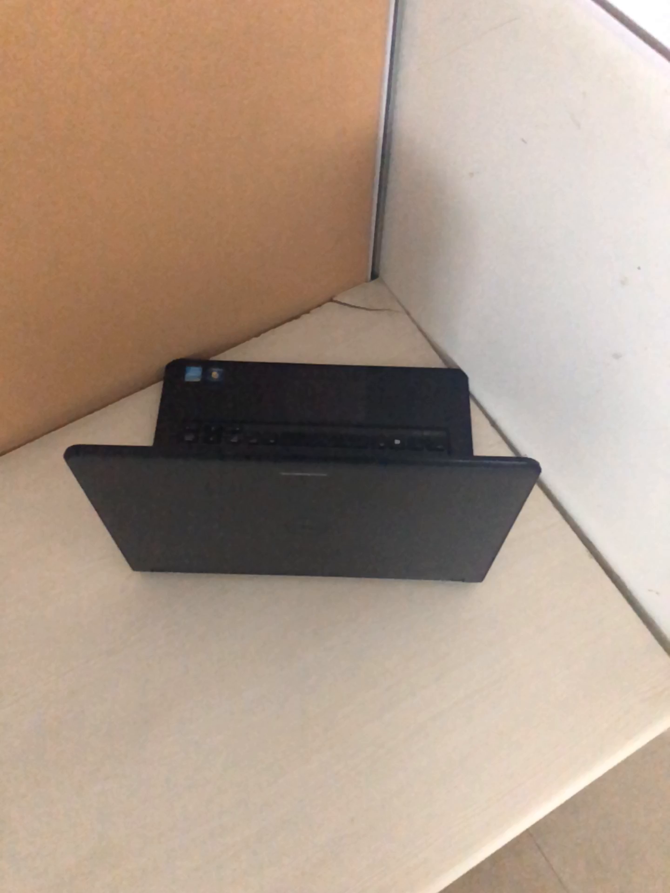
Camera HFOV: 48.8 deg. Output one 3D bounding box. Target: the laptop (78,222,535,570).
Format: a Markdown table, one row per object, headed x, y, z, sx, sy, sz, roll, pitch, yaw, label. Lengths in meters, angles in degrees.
| x | y | z | sx | sy | sz | roll | pitch | yaw | label |
| --- | --- | --- | --- | --- | --- | --- | --- | --- | --- |
| -0.015 | -0.033 | 0.636 | 0.304 | 0.212 | 0.215 | 2 | 62 | 0 | laptop |
